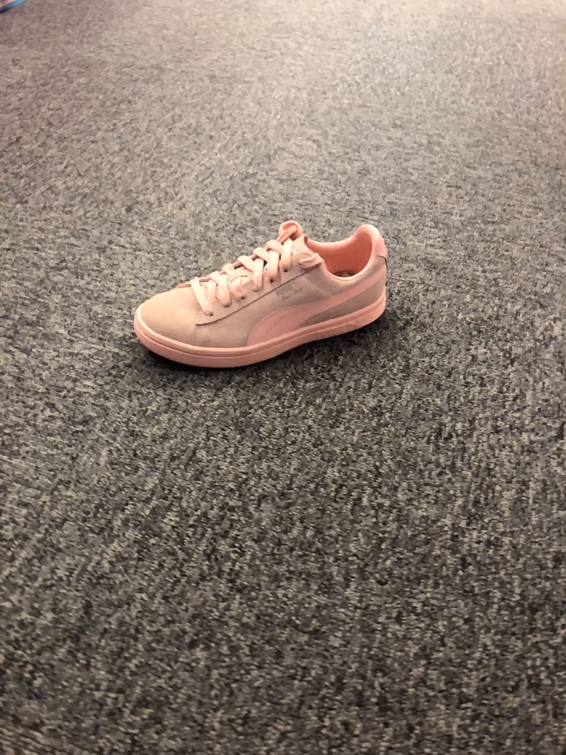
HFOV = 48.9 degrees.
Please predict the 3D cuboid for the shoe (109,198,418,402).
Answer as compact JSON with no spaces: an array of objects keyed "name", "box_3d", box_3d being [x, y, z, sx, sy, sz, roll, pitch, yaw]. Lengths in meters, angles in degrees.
[{"name":"shoe","box_3d":[-0.016,-0.074,0.570,0.253,0.090,0.093,-15,46,-8]}]
